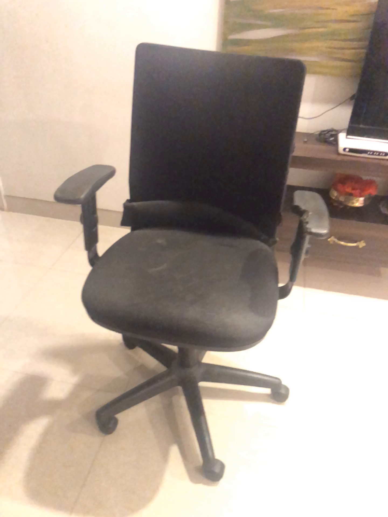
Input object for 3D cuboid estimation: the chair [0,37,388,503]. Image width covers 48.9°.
[{"bbox_3d":[-0.003,0.010,1.226,0.710,1.042,0.705,7,35,8],"label":"chair"}]
